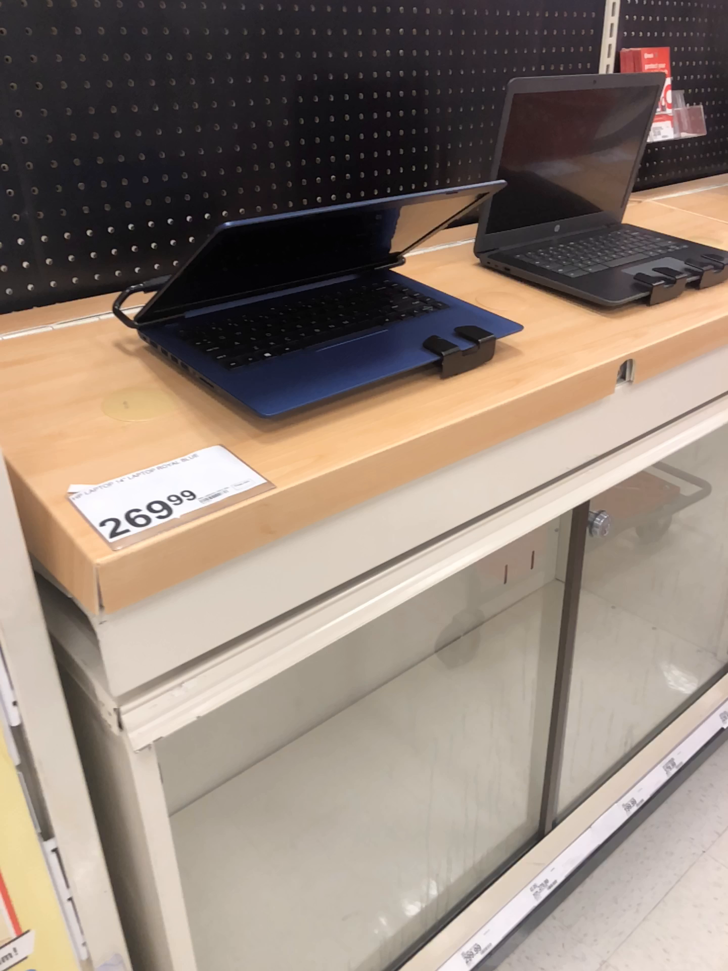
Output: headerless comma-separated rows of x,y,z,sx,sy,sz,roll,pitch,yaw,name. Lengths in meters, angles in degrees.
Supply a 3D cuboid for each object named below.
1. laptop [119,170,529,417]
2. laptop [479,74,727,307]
-0.027,-0.203,0.759,0.321,0.110,0.201,-24,40,-35,laptop
0.340,-0.399,1.030,0.331,0.206,0.224,-22,36,-33,laptop
